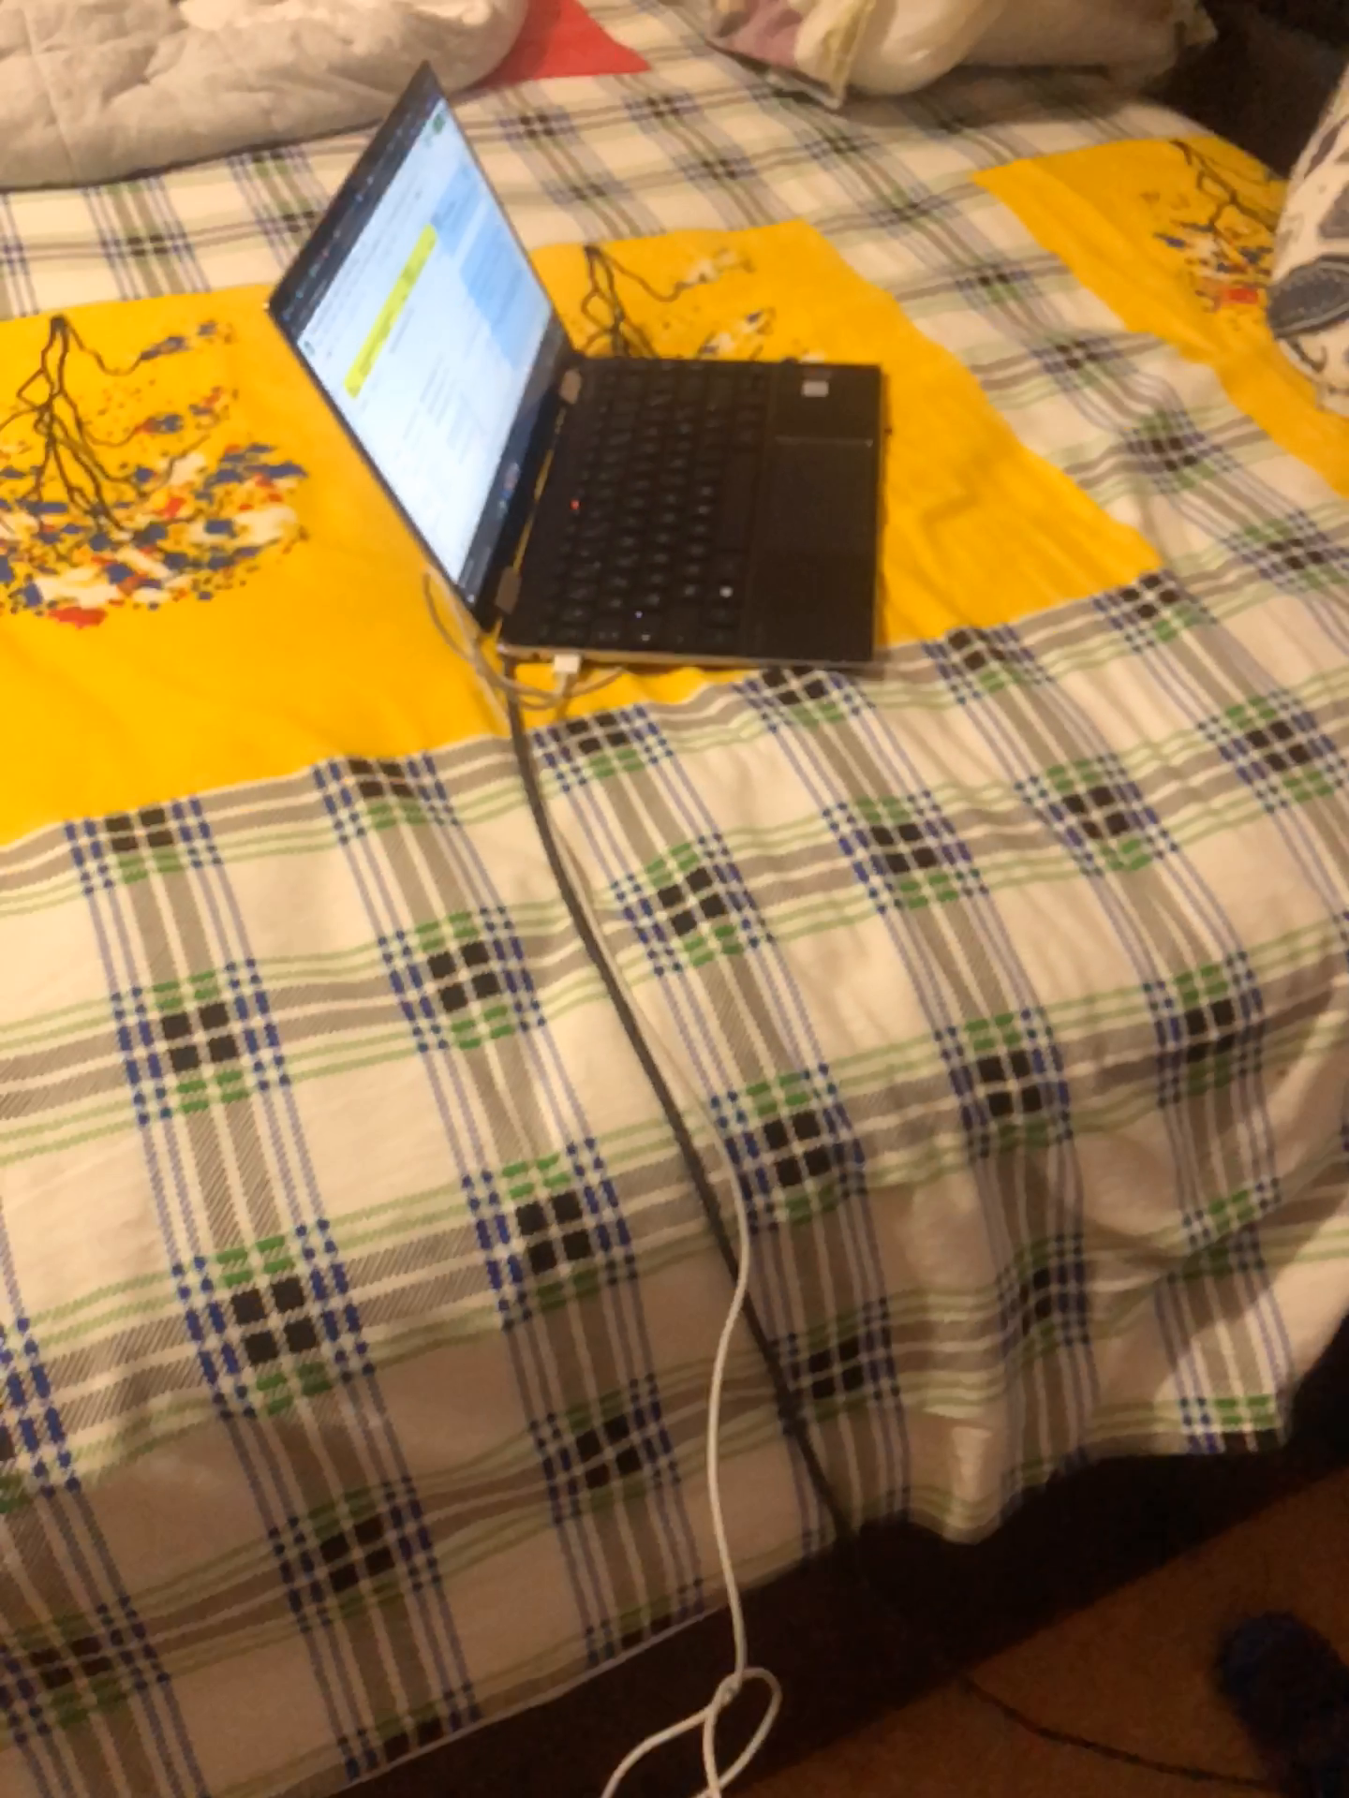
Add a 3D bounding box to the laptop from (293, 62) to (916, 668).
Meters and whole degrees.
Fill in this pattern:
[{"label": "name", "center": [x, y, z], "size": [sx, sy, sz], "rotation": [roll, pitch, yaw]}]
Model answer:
[{"label": "laptop", "center": [-0.017, -0.277, 0.749], "size": [0.253, 0.158, 0.275], "rotation": [5, 49, 5]}]
